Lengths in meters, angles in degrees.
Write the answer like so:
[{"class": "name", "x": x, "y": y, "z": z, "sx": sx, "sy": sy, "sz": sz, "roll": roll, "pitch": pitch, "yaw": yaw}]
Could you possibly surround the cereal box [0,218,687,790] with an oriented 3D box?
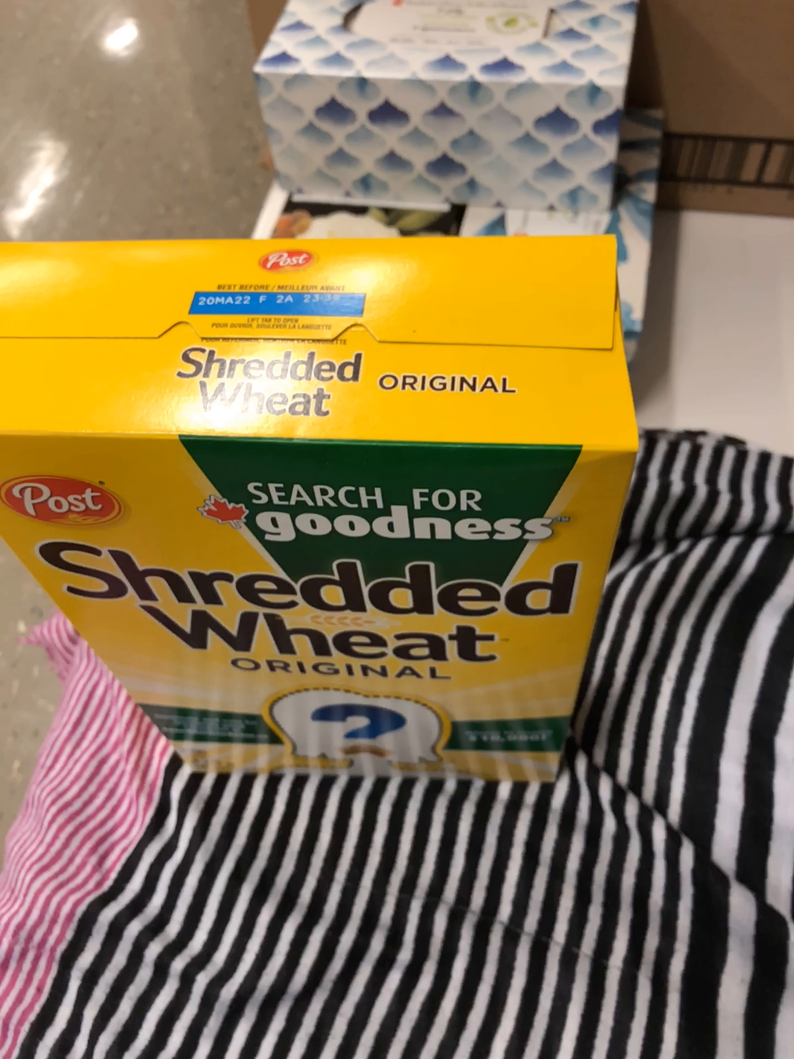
[{"class": "cereal box", "x": -0.025, "y": 0.019, "z": 0.352, "sx": 0.210, "sy": 0.269, "sz": 0.080, "roll": 0, "pitch": 57, "yaw": 5}]
